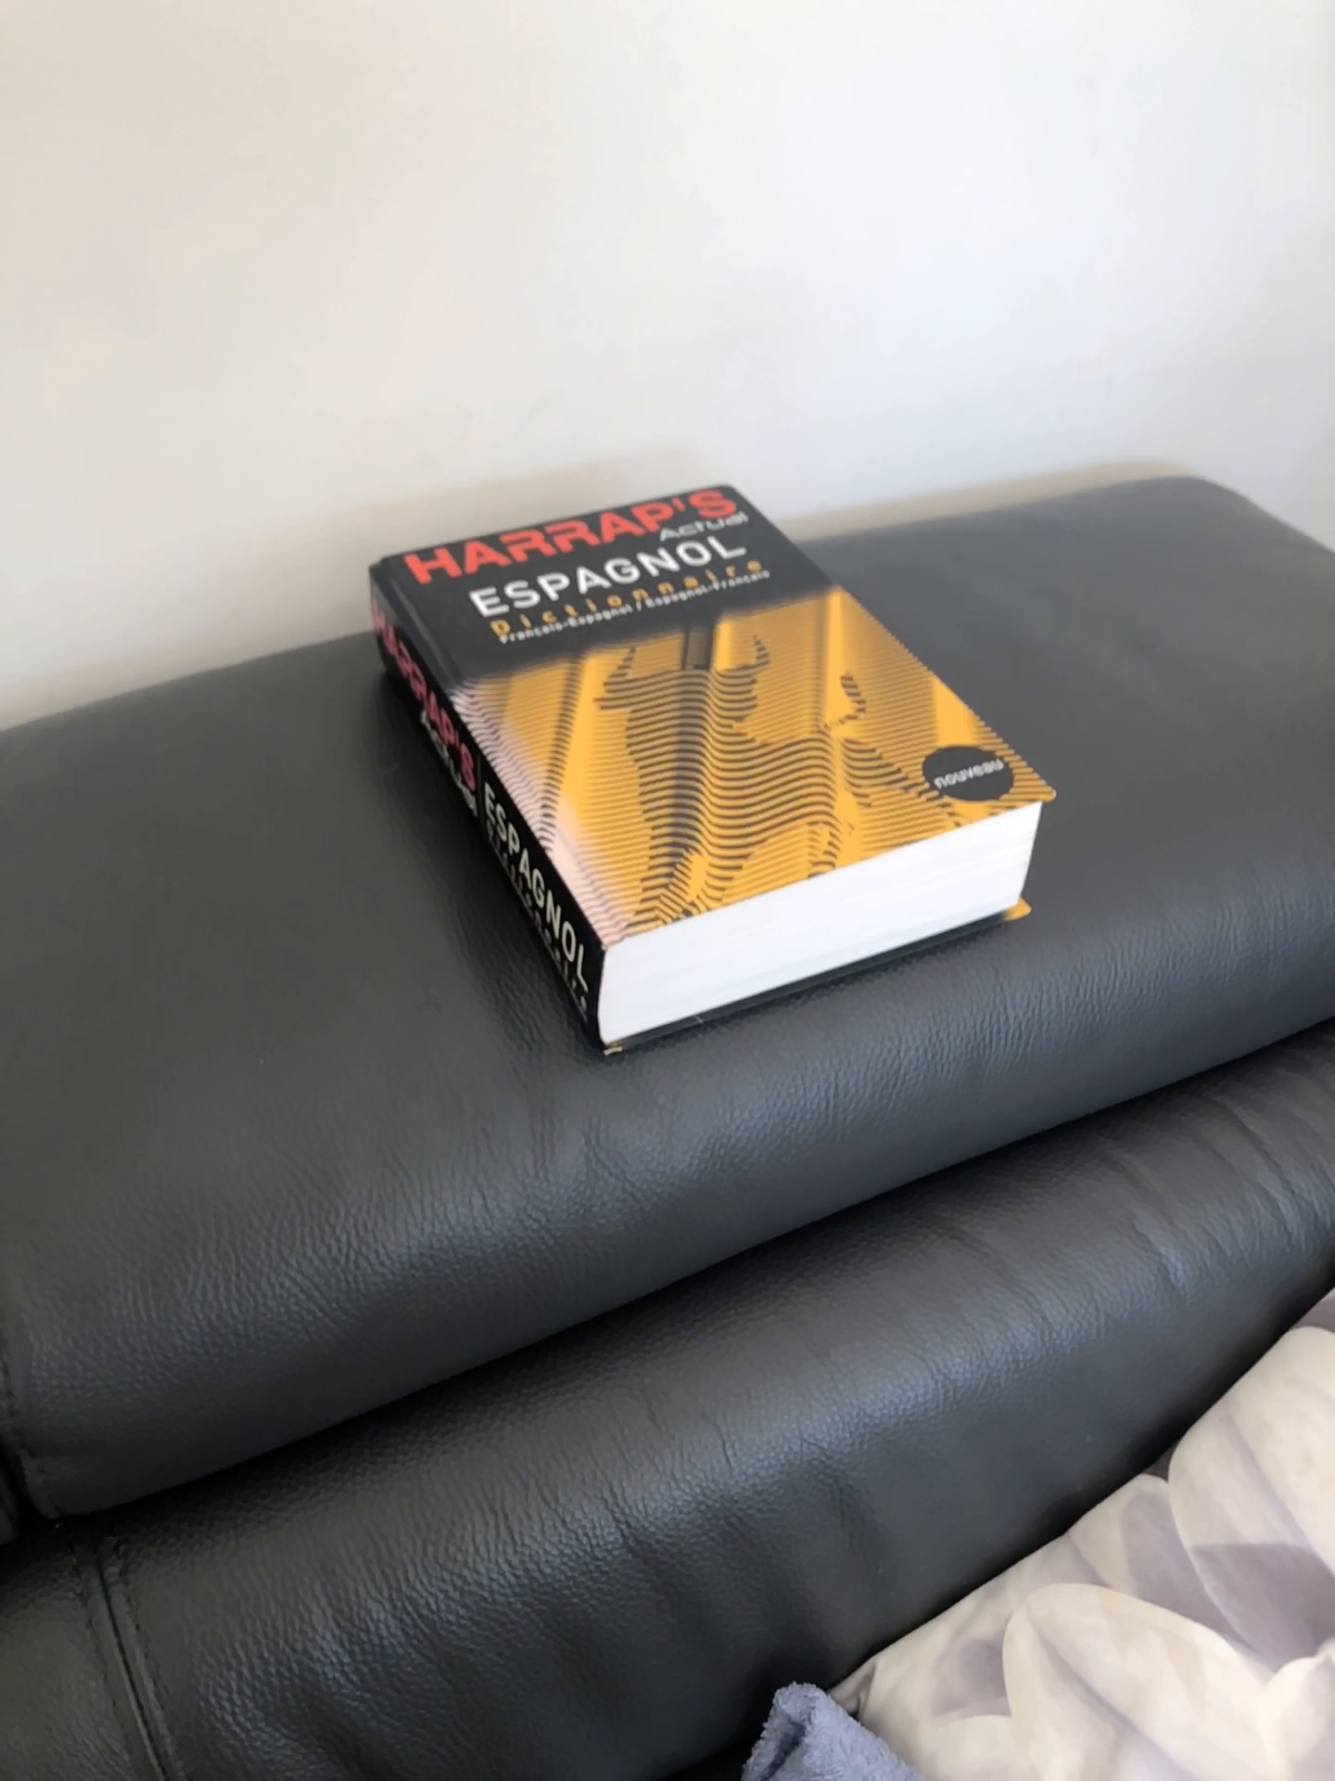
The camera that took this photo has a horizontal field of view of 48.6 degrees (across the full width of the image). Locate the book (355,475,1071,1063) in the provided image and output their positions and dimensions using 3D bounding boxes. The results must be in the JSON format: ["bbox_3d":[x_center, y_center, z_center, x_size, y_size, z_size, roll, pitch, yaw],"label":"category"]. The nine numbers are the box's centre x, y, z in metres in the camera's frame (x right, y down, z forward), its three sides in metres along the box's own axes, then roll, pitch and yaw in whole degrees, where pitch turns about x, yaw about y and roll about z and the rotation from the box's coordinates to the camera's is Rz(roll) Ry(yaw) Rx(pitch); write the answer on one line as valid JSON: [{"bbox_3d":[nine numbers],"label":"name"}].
[{"bbox_3d":[0.004,-0.068,0.596,0.185,0.050,0.261,-17,47,-19],"label":"book"}]
